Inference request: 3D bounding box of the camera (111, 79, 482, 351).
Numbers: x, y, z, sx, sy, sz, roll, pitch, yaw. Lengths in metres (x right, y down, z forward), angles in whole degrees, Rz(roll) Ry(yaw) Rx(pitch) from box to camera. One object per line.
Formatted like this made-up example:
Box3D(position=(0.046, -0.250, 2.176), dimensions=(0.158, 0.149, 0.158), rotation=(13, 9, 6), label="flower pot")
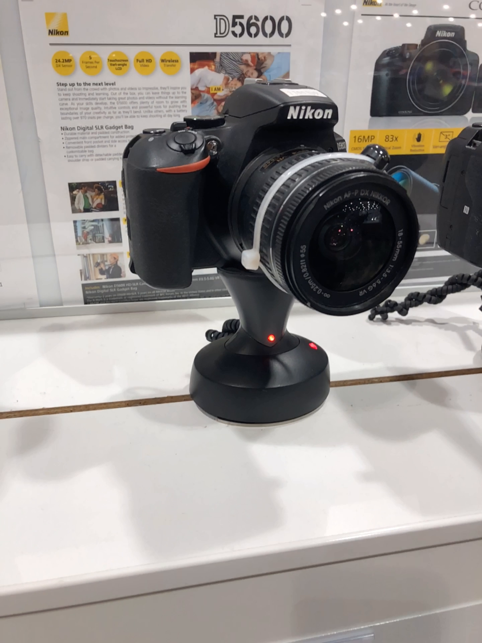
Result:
Box3D(position=(0.016, -0.066, 0.263), dimensions=(0.130, 0.090, 0.141), rotation=(-7, 27, -19), label="camera")
